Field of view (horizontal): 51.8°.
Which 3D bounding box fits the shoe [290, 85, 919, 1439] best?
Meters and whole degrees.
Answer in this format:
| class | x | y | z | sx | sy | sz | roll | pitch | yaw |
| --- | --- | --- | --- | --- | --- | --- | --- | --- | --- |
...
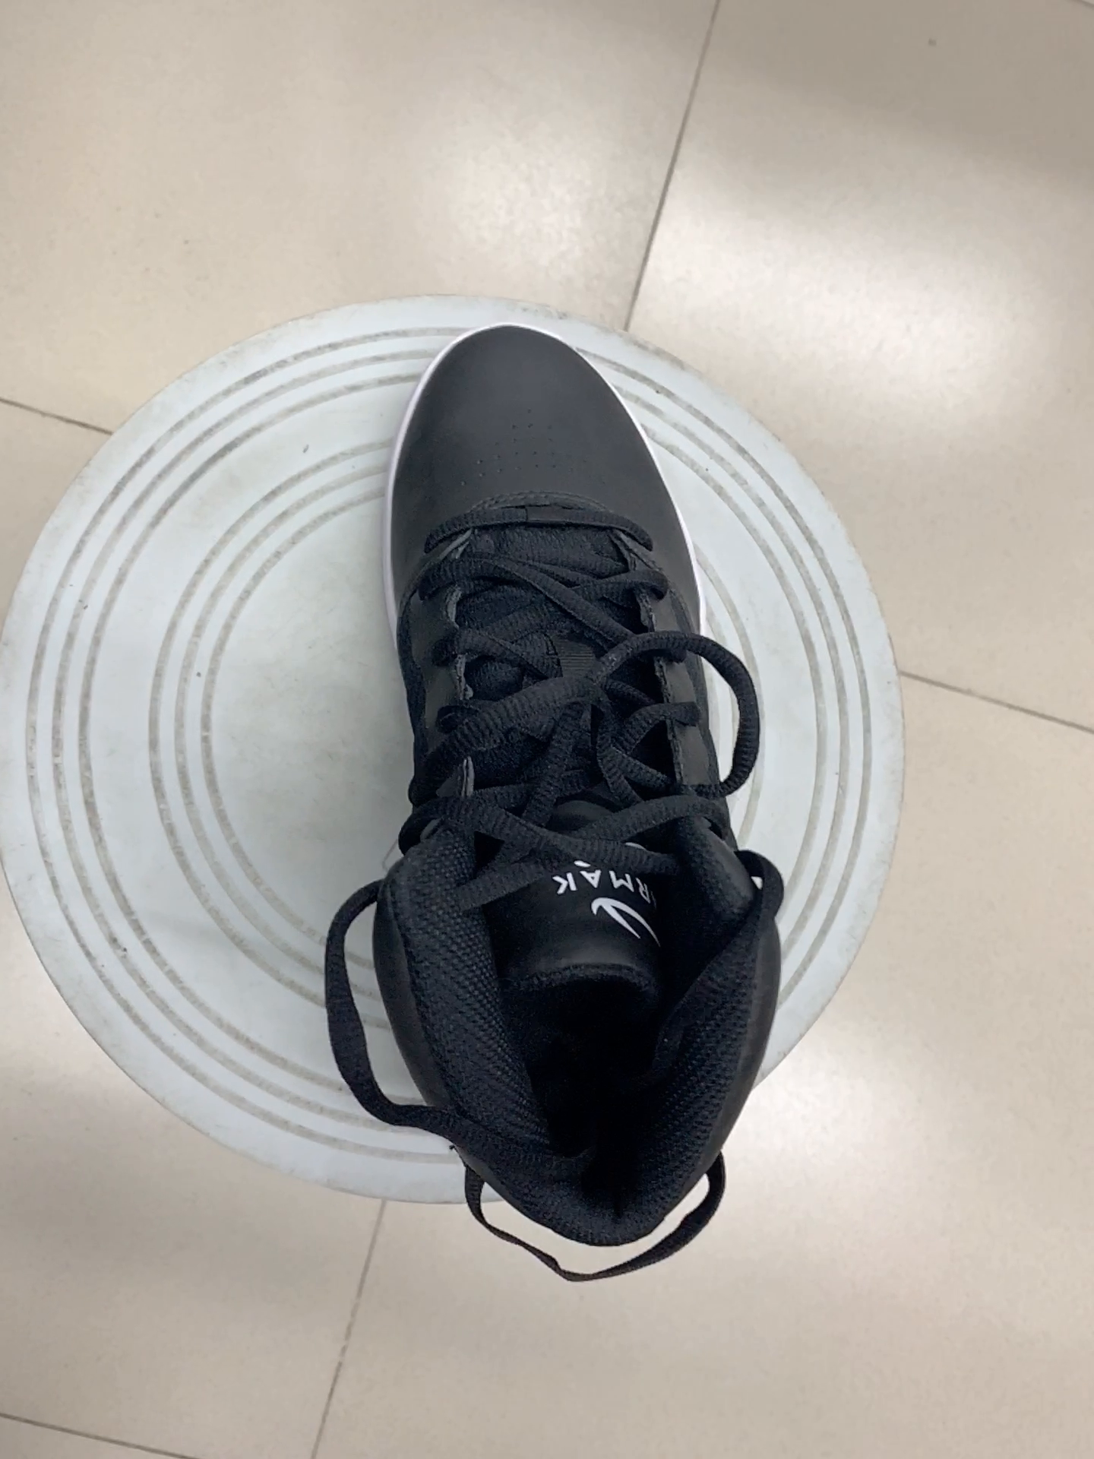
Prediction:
| class | x | y | z | sx | sy | sz | roll | pitch | yaw |
| --- | --- | --- | --- | --- | --- | --- | --- | --- | --- |
| shoe | 0.001 | 0.000 | 0.253 | 0.090 | 0.100 | 0.240 | -5 | 82 | -8 |
